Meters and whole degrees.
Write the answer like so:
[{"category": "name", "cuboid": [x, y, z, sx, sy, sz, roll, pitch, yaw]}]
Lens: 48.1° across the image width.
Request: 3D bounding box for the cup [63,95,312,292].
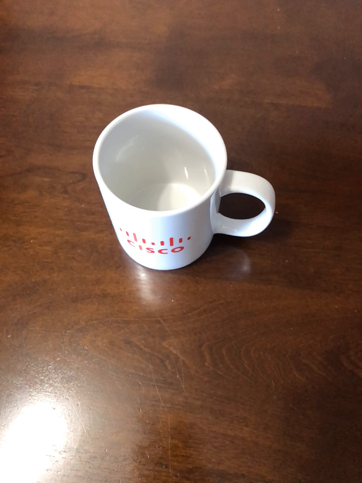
[{"category": "cup", "cuboid": [0.008, -0.027, 0.267, 0.130, 0.090, 0.080, 7, 66, 4]}]
